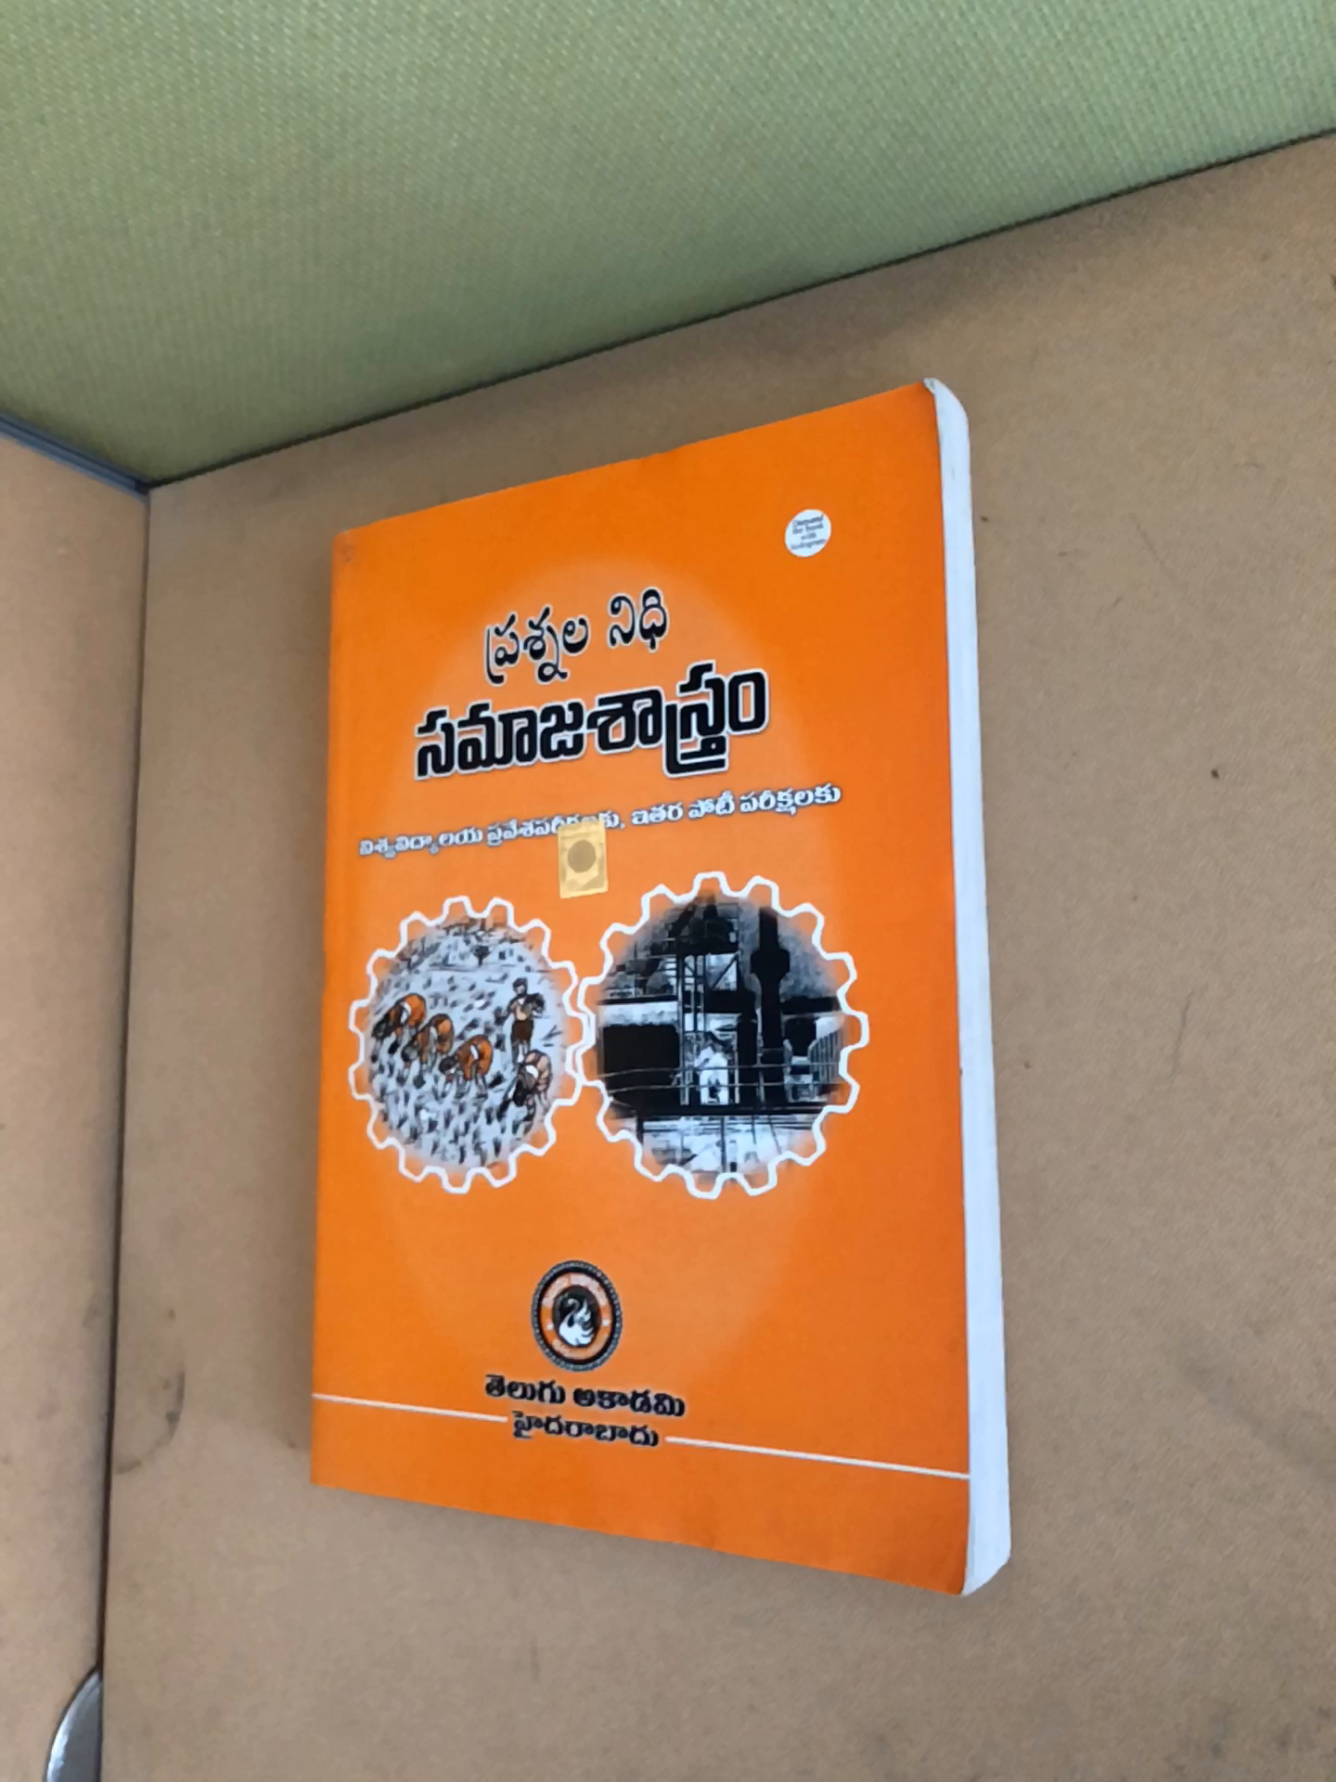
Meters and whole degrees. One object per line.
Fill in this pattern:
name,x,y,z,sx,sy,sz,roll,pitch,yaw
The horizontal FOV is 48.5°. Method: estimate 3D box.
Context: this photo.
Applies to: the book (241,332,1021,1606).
book,-0.018,0.019,0.411,0.211,0.050,0.290,-5,80,30
